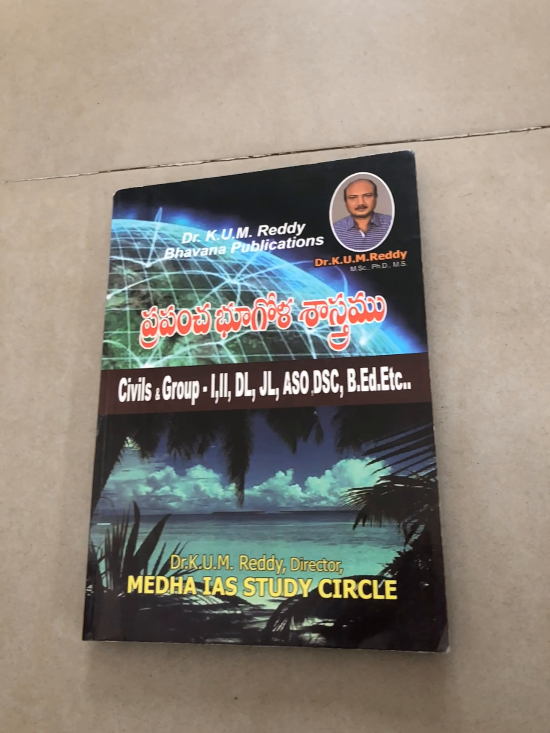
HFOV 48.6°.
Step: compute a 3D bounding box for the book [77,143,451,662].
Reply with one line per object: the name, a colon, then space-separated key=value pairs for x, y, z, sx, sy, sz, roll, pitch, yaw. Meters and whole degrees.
book: x=-0.009 y=0.013 z=0.333 sx=0.180 sy=0.030 sz=0.260 roll=-3 pitch=76 yaw=11
